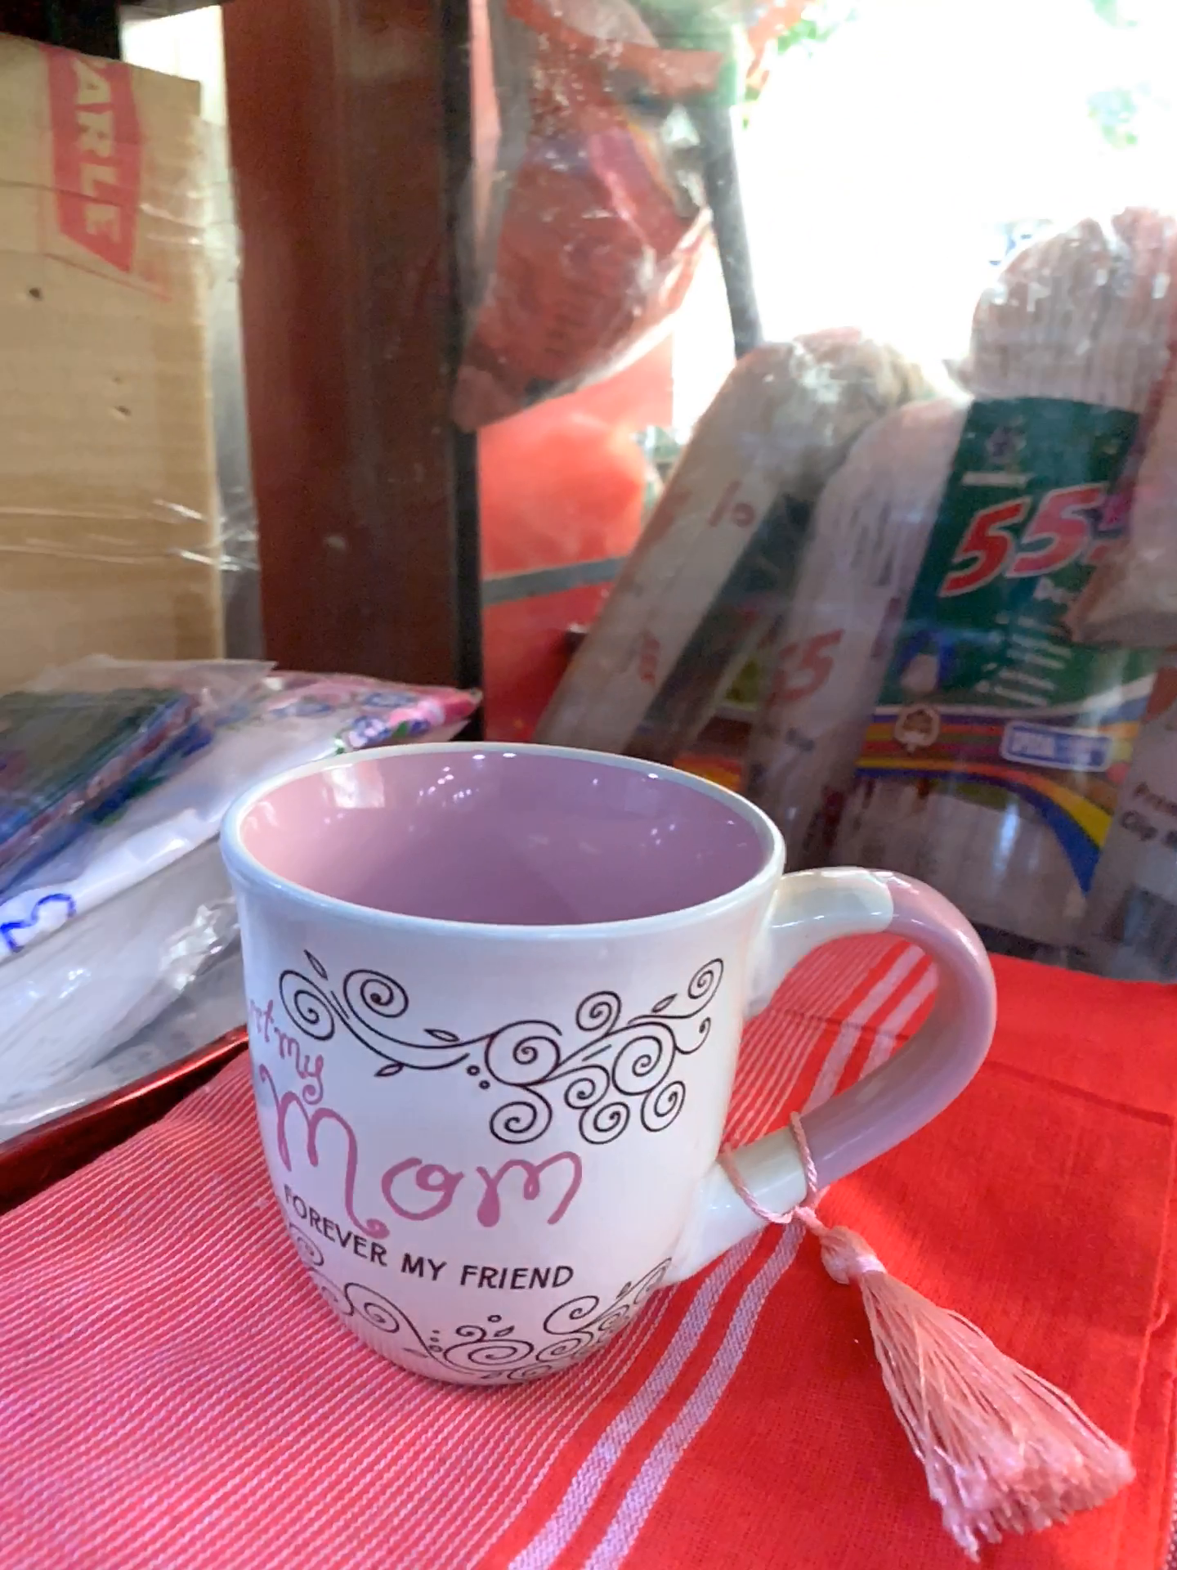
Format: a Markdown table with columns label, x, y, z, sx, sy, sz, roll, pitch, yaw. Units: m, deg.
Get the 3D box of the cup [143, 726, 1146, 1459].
| label | x | y | z | sx | sy | sz | roll | pitch | yaw |
| --- | --- | --- | --- | --- | --- | --- | --- | --- | --- |
| cup | 0.005 | 0.042 | 0.214 | 0.130 | 0.080 | 0.094 | -1 | 17 | -6 |
